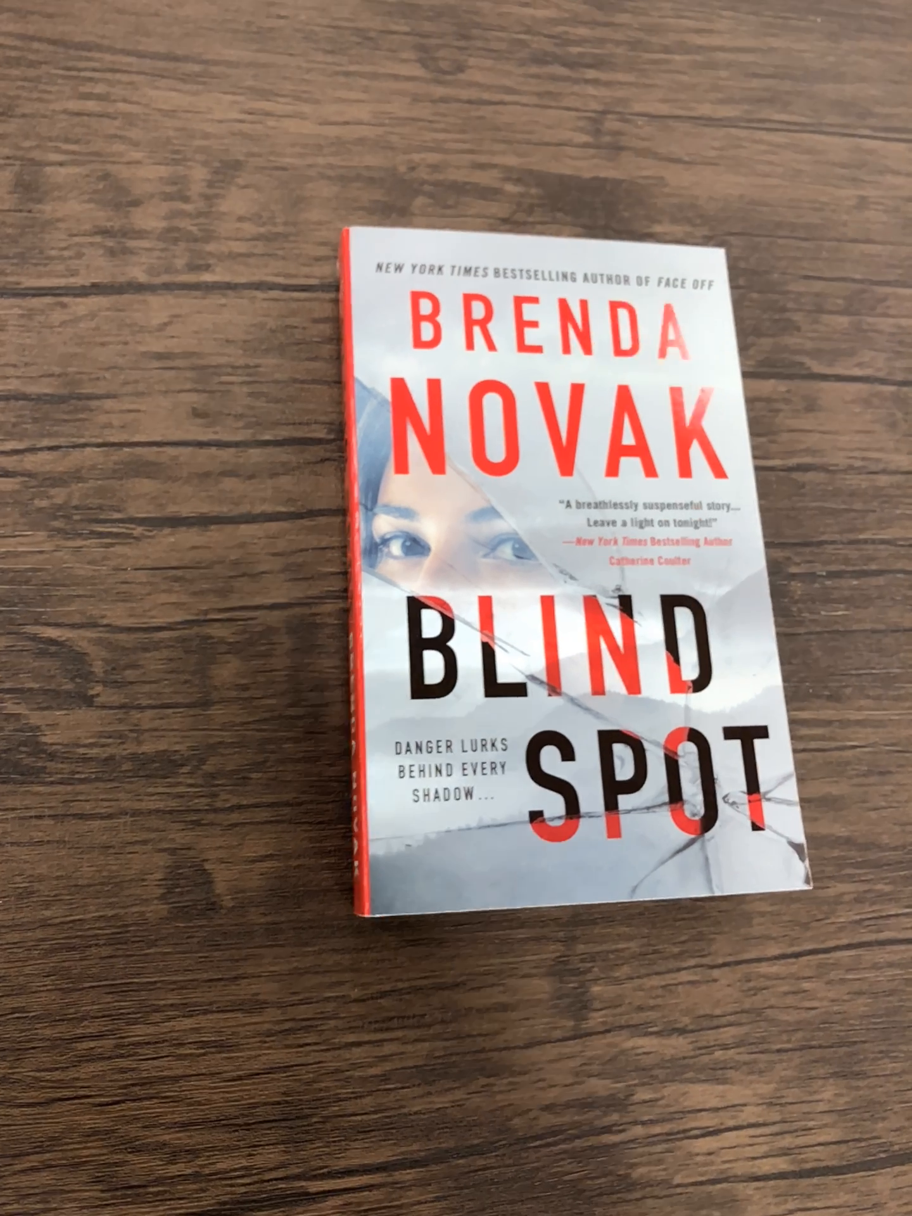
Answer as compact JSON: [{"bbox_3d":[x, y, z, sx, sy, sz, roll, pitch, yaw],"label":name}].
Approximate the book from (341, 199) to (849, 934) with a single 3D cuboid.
[{"bbox_3d":[0.029,-0.012,0.265,0.109,0.039,0.175,0,76,-12],"label":"book"}]
